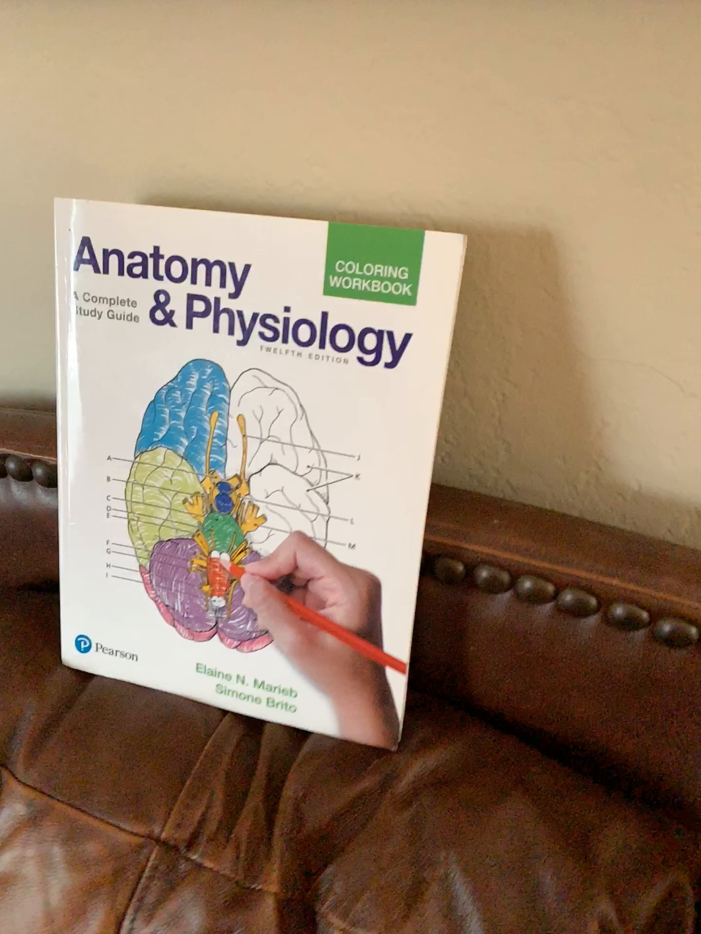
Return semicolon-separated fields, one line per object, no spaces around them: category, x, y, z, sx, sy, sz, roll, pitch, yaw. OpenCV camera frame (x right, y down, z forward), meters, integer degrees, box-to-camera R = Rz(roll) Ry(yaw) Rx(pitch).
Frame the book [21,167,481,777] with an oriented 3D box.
book;-0.059;-0.001;0.394;0.220;0.289;0.060;8;16;15
